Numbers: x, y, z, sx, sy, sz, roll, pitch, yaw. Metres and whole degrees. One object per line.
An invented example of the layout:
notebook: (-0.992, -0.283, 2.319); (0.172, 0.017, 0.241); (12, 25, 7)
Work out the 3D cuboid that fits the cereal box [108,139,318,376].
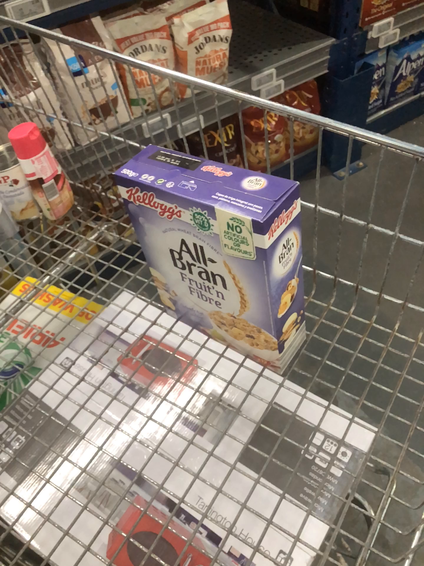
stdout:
cereal box: (0.012, -0.027, 0.548); (0.200, 0.229, 0.080); (22, 55, 31)
